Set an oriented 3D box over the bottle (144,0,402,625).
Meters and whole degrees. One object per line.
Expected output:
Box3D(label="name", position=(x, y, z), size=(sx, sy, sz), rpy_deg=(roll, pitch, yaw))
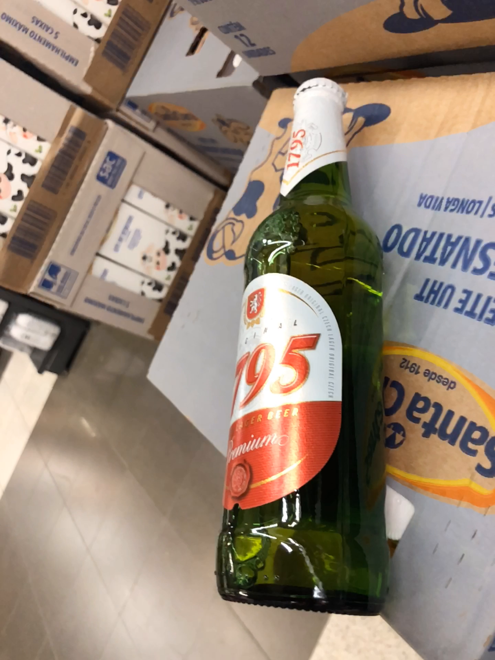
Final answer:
Box3D(label="bottle", position=(0.022, -0.023, 0.254), size=(0.070, 0.060, 0.270), rpy_deg=(-20, 54, 44))
